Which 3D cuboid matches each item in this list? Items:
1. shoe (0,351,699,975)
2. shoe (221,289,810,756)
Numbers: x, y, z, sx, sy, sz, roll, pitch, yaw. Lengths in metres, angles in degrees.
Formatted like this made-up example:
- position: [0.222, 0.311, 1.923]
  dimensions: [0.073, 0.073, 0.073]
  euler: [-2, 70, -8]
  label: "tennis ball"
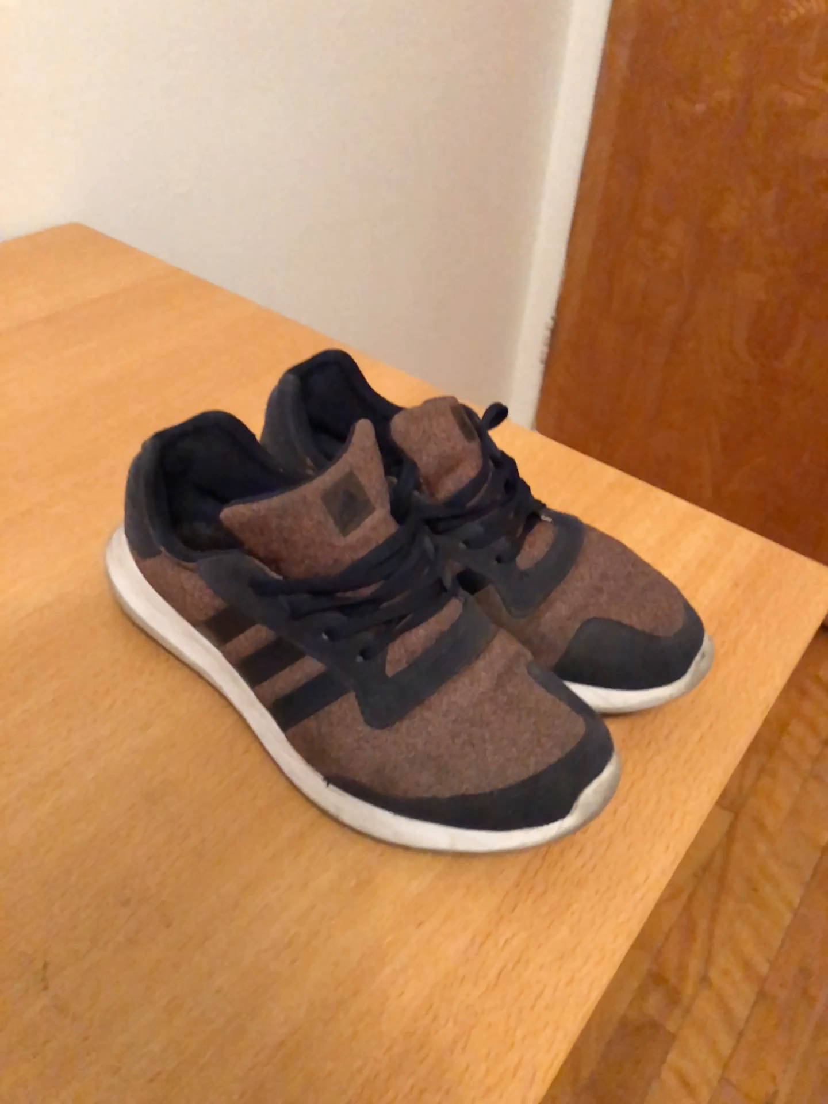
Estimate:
- position: [-0.047, 0.025, 0.407]
  dimensions: [0.291, 0.099, 0.131]
  euler: [27, 43, 24]
  label: "shoe"
- position: [0.042, -0.032, 0.476]
  dimensions: [0.261, 0.099, 0.131]
  euler: [27, 43, 24]
  label: "shoe"
